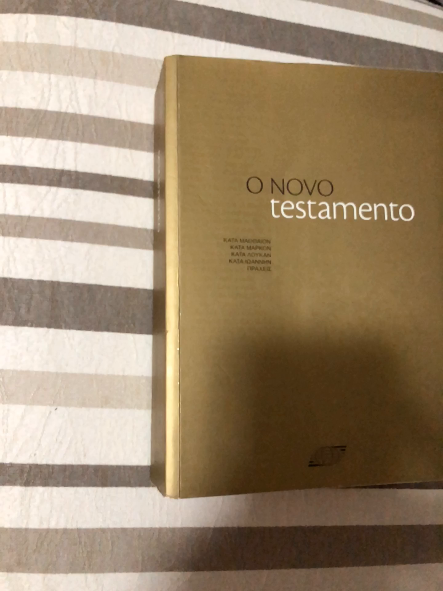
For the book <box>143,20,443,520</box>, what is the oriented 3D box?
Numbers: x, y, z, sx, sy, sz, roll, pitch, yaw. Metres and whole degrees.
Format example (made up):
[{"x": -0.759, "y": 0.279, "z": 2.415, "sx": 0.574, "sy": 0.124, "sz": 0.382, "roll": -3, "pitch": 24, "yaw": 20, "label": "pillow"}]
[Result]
[{"x": 0.041, "y": -0.017, "z": 0.262, "sx": 0.160, "sy": 0.050, "sz": 0.230, "roll": 1, "pitch": 80, "yaw": -12, "label": "book"}]
